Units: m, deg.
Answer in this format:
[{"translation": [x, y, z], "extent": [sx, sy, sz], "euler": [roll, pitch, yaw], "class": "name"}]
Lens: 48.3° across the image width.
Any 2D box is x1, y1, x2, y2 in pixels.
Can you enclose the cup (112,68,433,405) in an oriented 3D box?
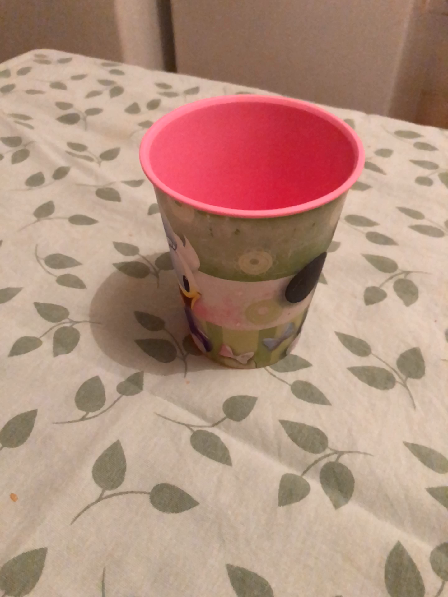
[{"translation": [0.016, -0.026, 0.234], "extent": [0.100, 0.119, 0.101], "euler": [0, 47, 0], "class": "cup"}]
